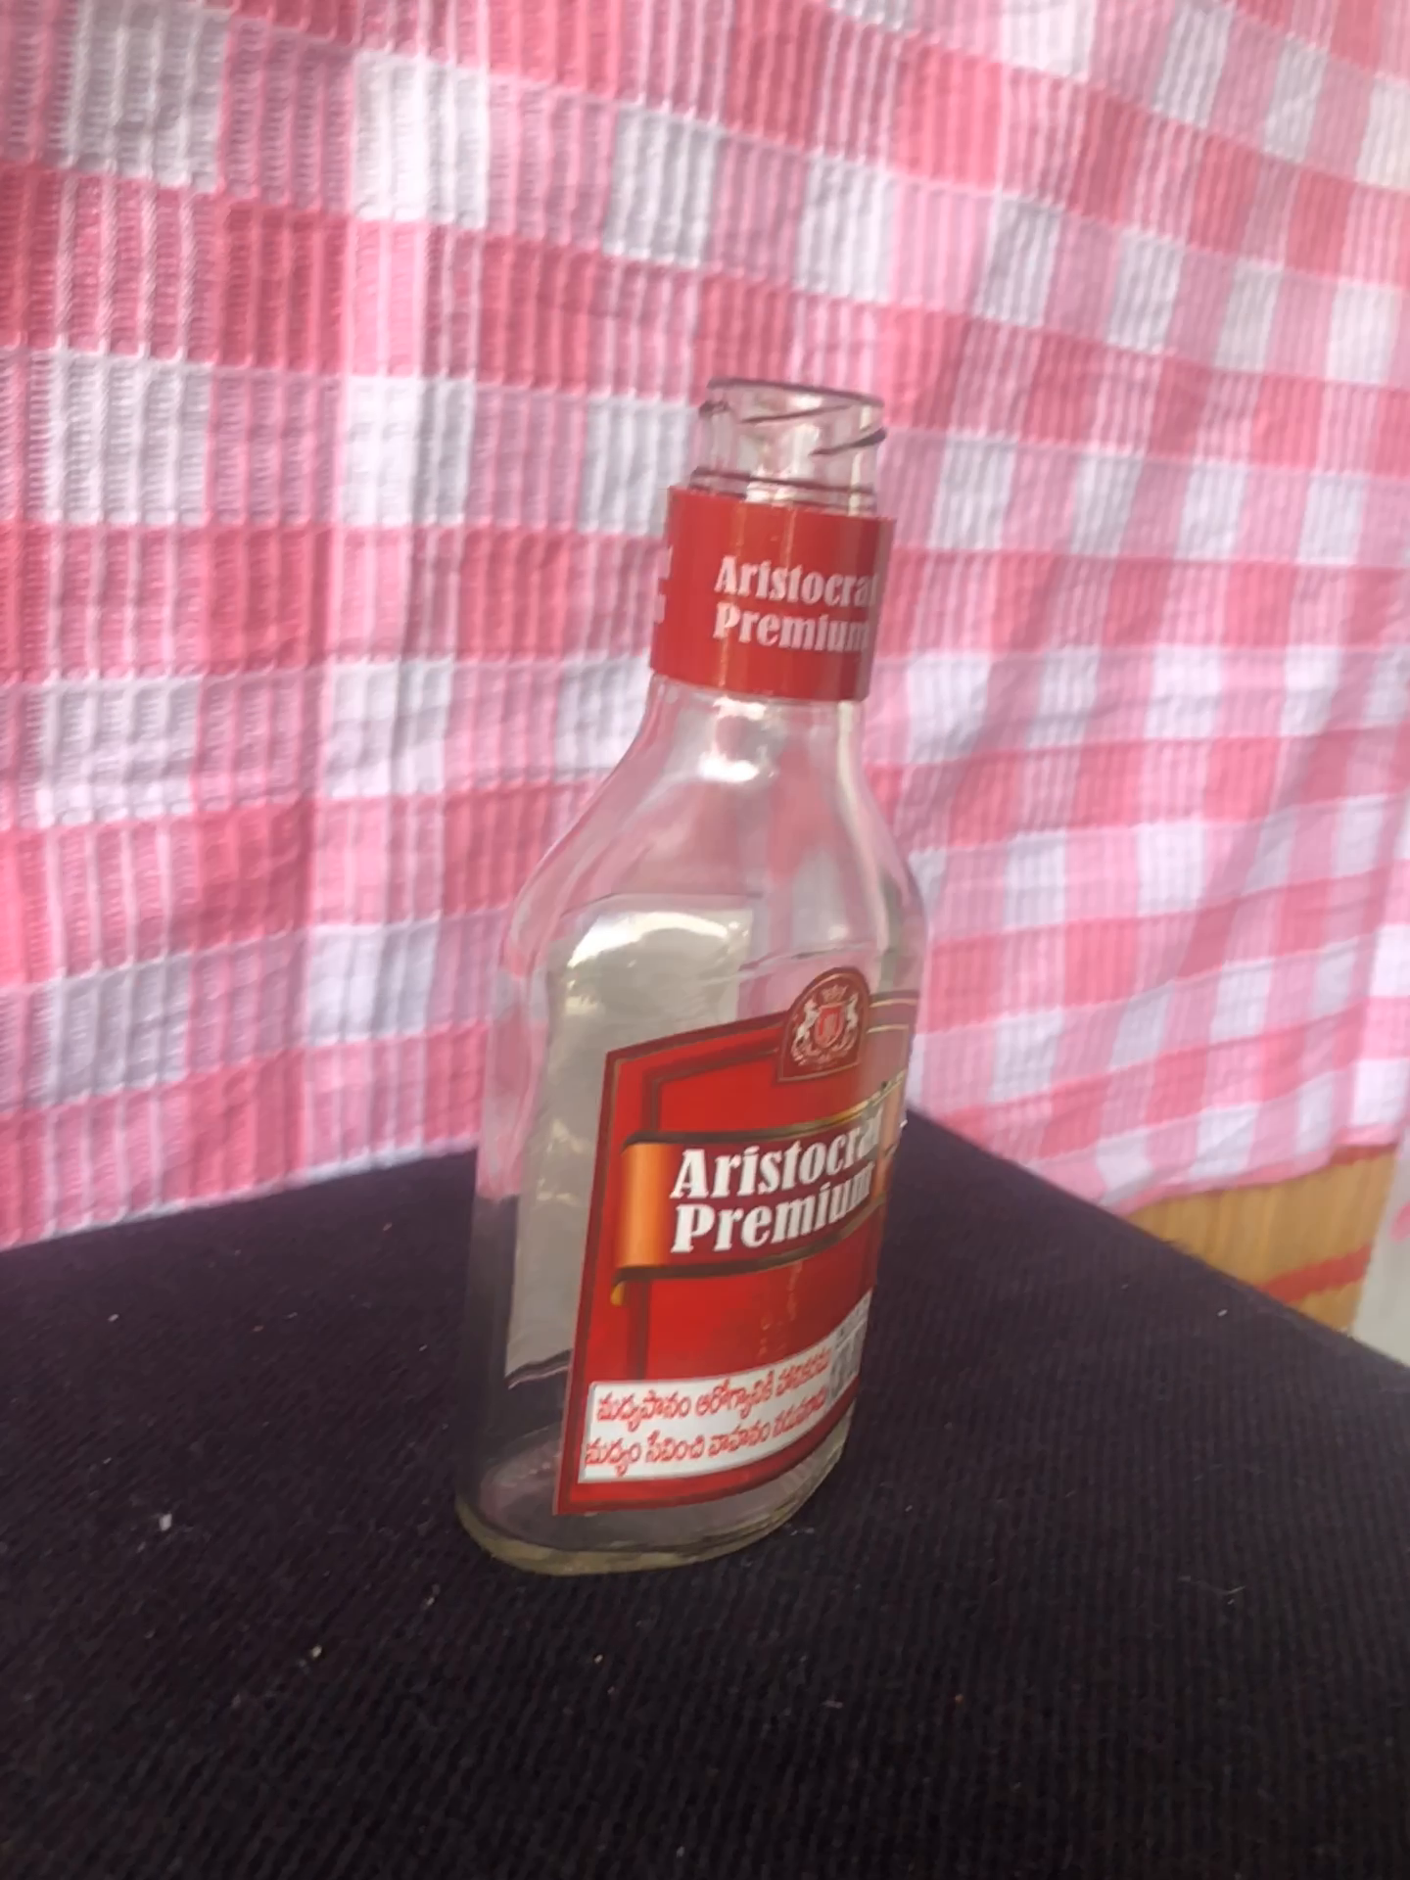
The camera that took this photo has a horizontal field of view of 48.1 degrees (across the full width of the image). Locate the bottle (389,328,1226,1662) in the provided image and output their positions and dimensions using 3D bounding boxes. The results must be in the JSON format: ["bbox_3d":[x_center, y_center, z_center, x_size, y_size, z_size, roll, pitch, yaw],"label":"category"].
[{"bbox_3d":[0.009,0.006,0.209,0.070,0.149,0.050,-6,23,-40],"label":"bottle"}]
